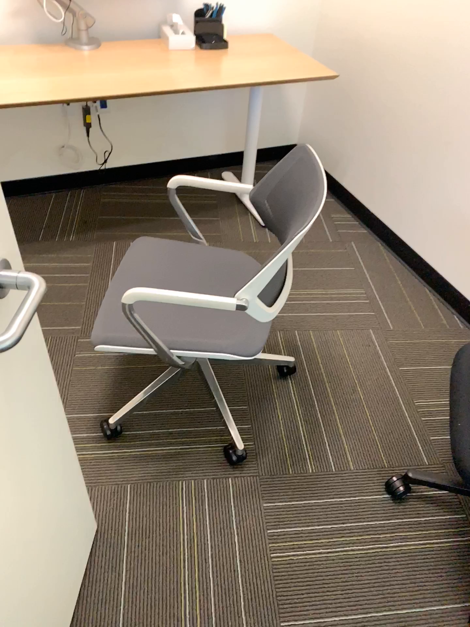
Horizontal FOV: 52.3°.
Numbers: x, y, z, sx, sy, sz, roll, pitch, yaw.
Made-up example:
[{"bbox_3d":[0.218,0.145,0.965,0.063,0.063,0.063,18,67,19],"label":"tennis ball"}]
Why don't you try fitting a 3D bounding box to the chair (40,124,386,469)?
[{"bbox_3d":[-0.062,-0.025,1.246,0.590,0.666,0.553,3,44,-4],"label":"chair"}]
